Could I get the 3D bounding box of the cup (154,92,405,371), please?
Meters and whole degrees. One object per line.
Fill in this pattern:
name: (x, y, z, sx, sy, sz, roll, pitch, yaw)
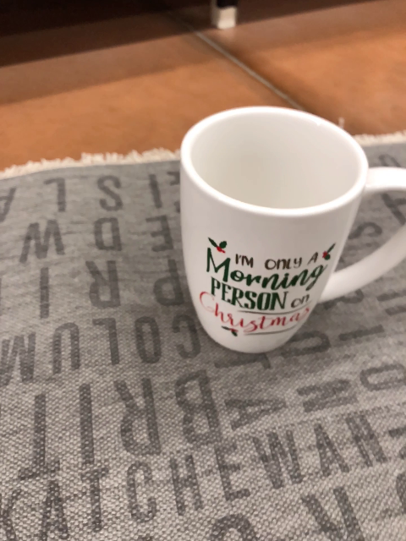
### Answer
cup: (0.049, -0.020, 0.234, 0.140, 0.100, 0.090, -3, 47, -5)
